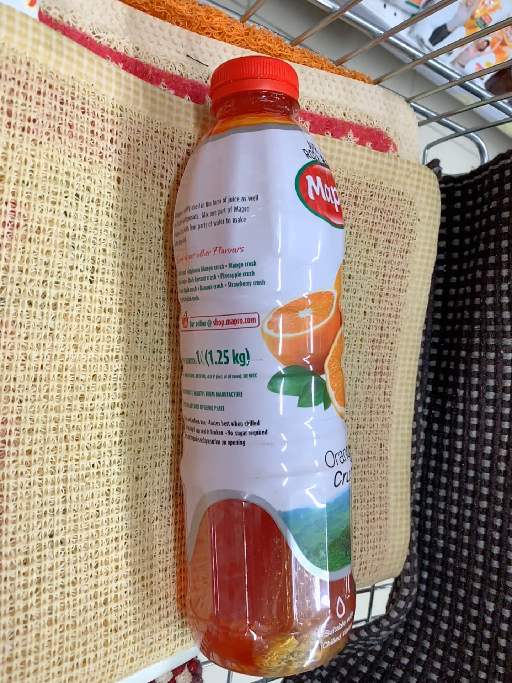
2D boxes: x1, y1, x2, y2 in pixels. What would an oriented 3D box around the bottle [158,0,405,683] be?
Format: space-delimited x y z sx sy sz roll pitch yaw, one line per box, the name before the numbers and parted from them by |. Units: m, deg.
bottle | 0.014 0.002 0.219 0.080 0.070 0.240 -1 92 -60
